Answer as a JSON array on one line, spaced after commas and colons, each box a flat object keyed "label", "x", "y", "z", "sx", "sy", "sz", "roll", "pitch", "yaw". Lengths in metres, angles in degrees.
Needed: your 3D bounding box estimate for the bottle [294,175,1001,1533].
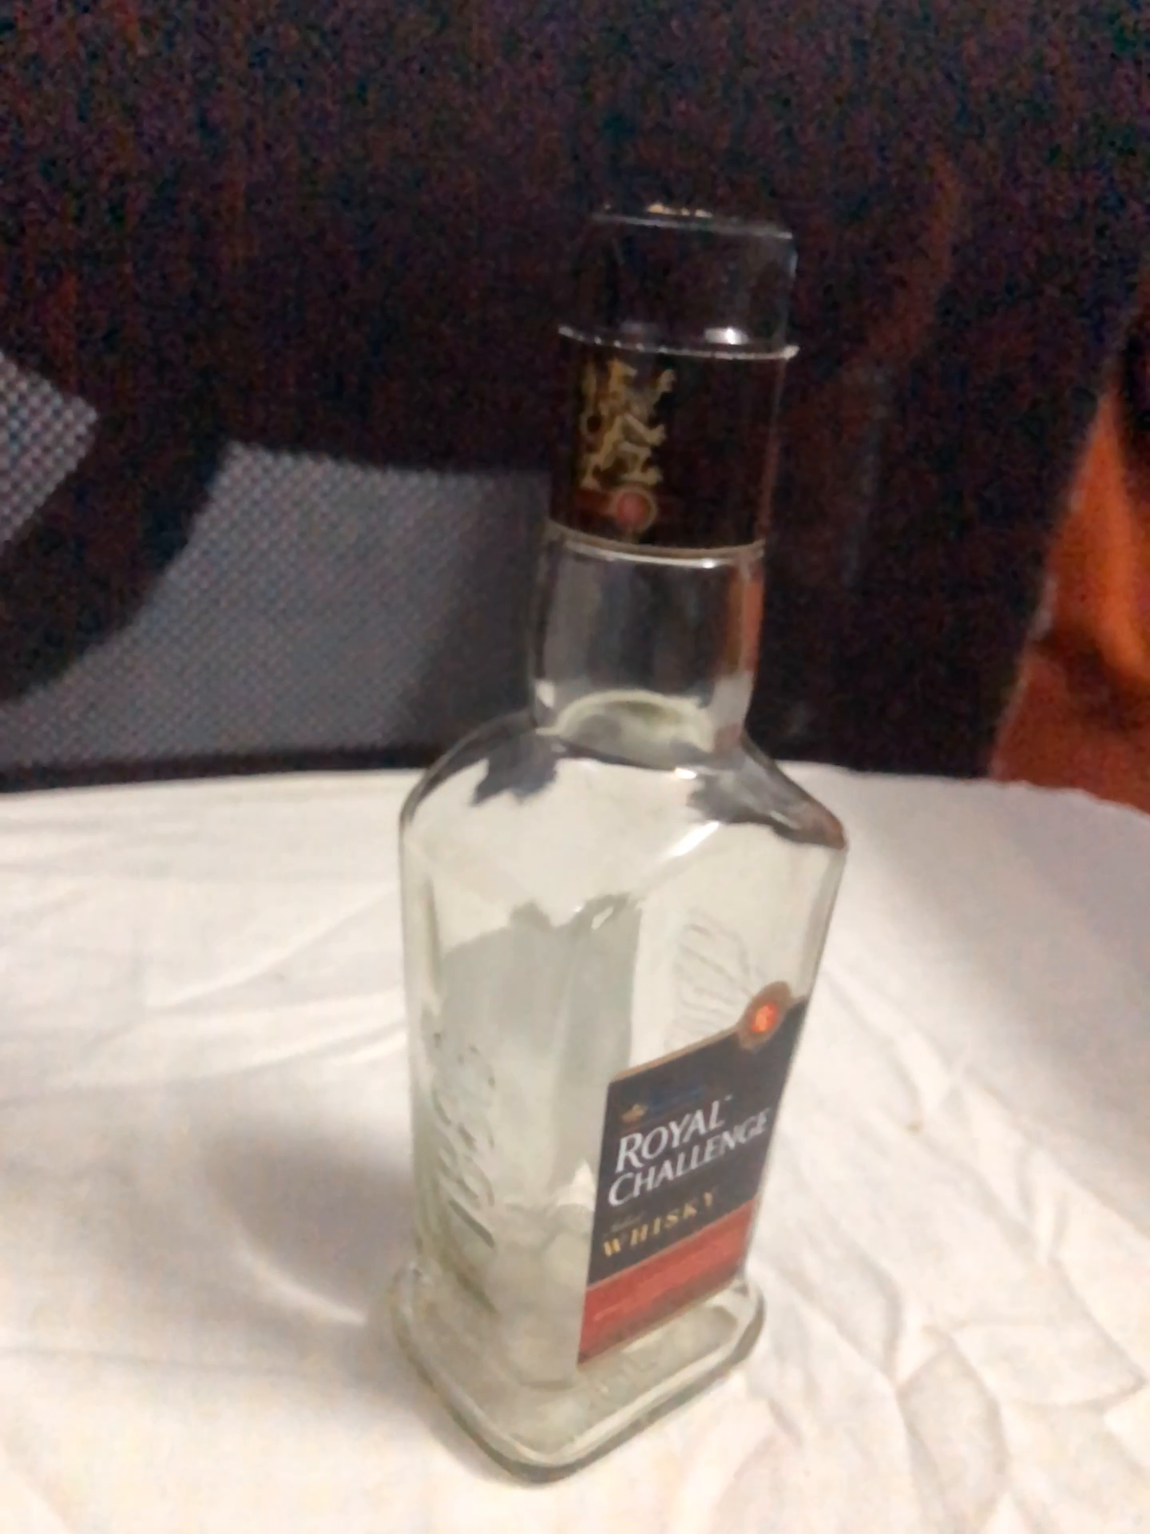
[{"label": "bottle", "x": 0.002, "y": 0.021, "z": 0.204, "sx": 0.070, "sy": 0.199, "sz": 0.050, "roll": -13, "pitch": 30, "yaw": -37}]
